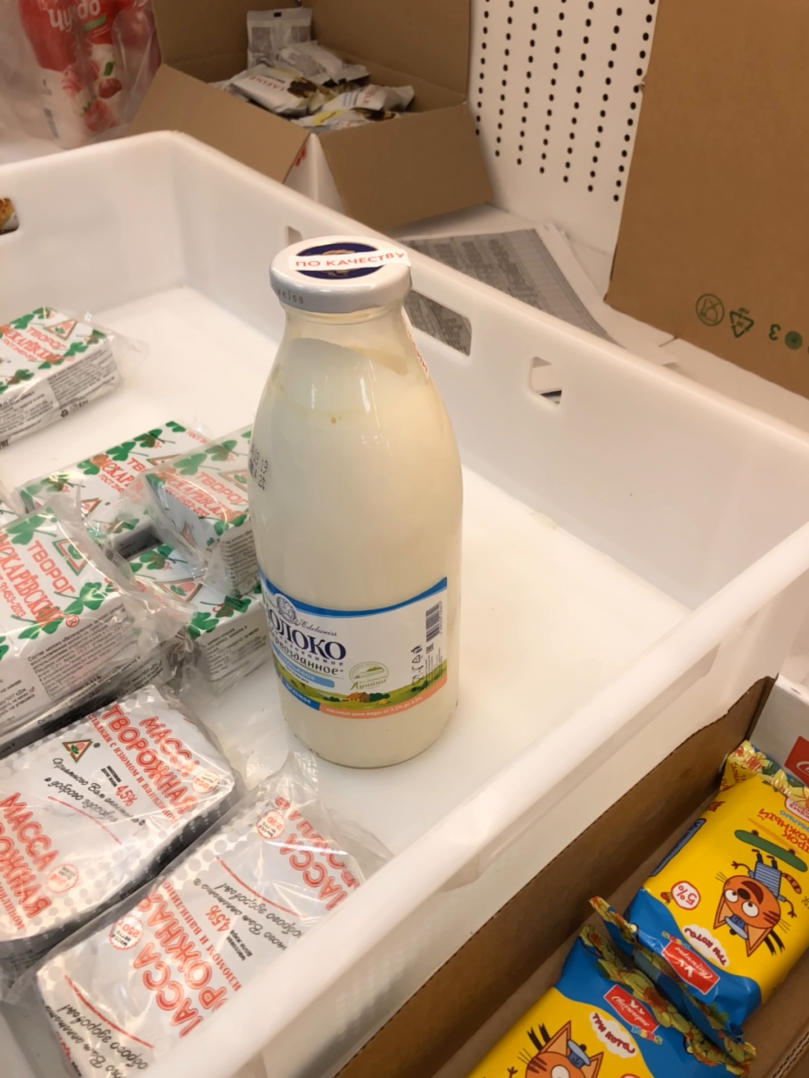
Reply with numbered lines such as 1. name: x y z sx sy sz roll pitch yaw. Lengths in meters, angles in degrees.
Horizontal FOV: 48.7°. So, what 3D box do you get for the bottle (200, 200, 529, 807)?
1. bottle: -0.014 -0.003 0.347 0.072 0.220 0.071 1 41 -1
